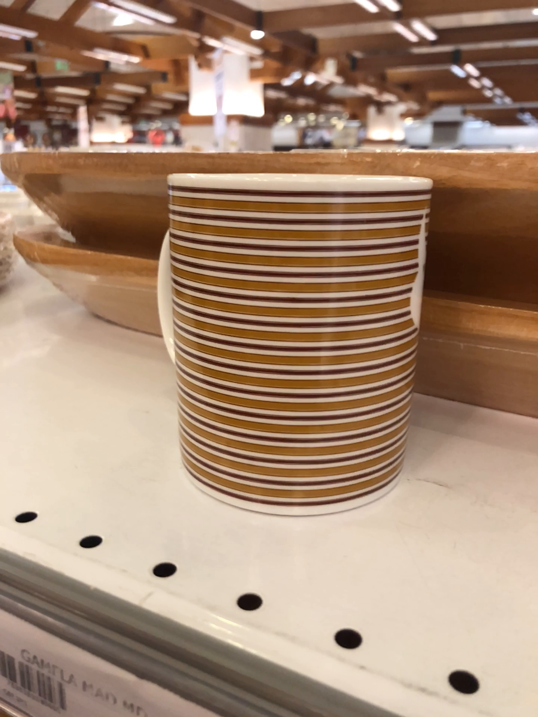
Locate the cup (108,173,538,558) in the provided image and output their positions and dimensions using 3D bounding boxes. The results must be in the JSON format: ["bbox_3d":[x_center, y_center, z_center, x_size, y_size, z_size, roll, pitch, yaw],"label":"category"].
[{"bbox_3d":[0.007,-0.016,0.207,0.090,0.090,0.120,-8,19,-26],"label":"cup"}]
